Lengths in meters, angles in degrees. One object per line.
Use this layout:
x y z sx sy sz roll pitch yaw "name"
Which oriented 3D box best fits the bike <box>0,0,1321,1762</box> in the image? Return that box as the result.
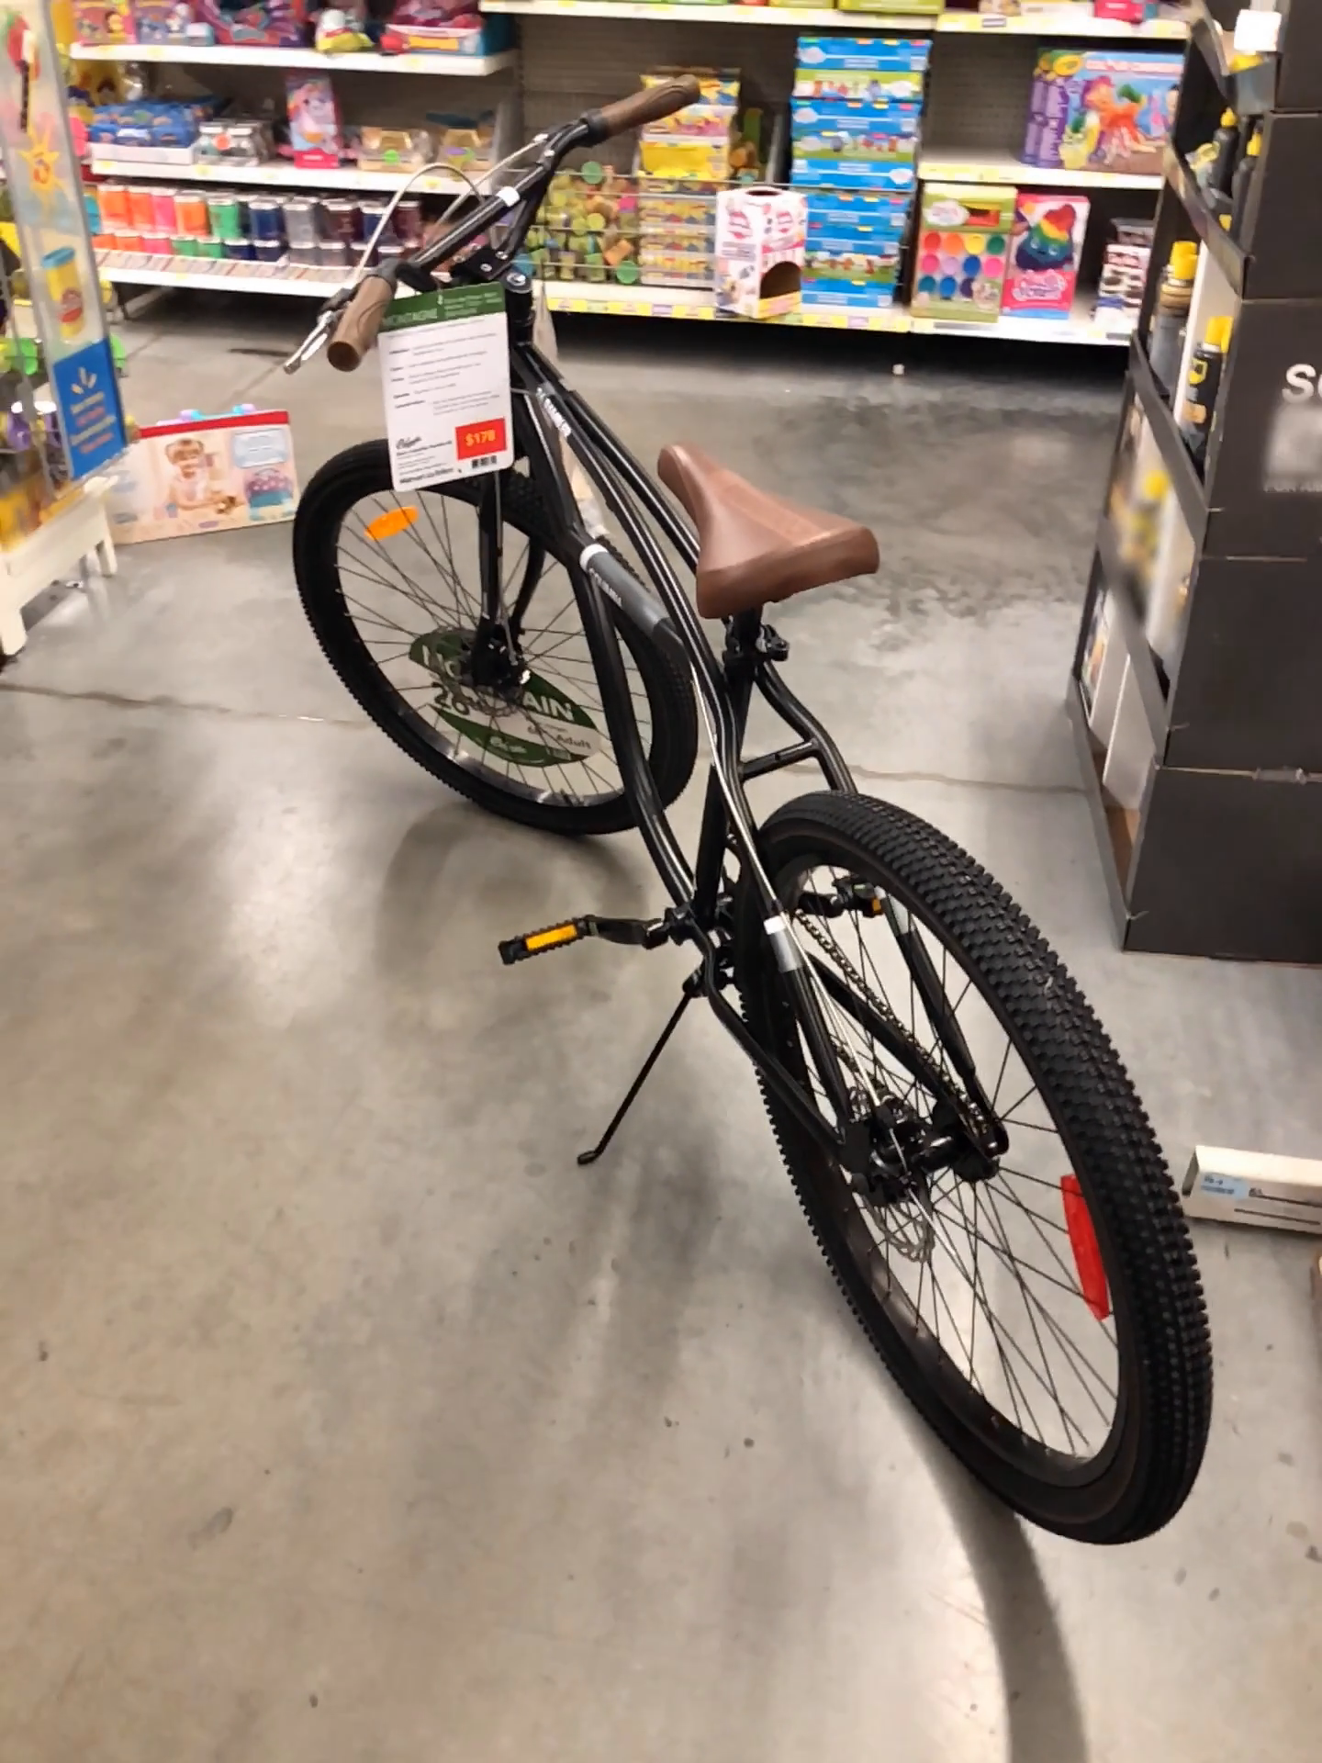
-0.110 -0.223 1.369 0.653 0.975 1.590 -19 44 -25 "bike"
